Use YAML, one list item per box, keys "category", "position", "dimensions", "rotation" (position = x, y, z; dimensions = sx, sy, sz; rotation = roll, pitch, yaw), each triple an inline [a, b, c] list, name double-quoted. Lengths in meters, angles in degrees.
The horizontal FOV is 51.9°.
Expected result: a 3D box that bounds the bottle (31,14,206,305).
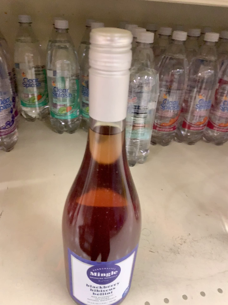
- category: "bottle"
  position: [-0.009, 0.040, 0.235]
  dimensions: [0.090, 0.298, 0.080]
  rotation: [0, 33, -6]
